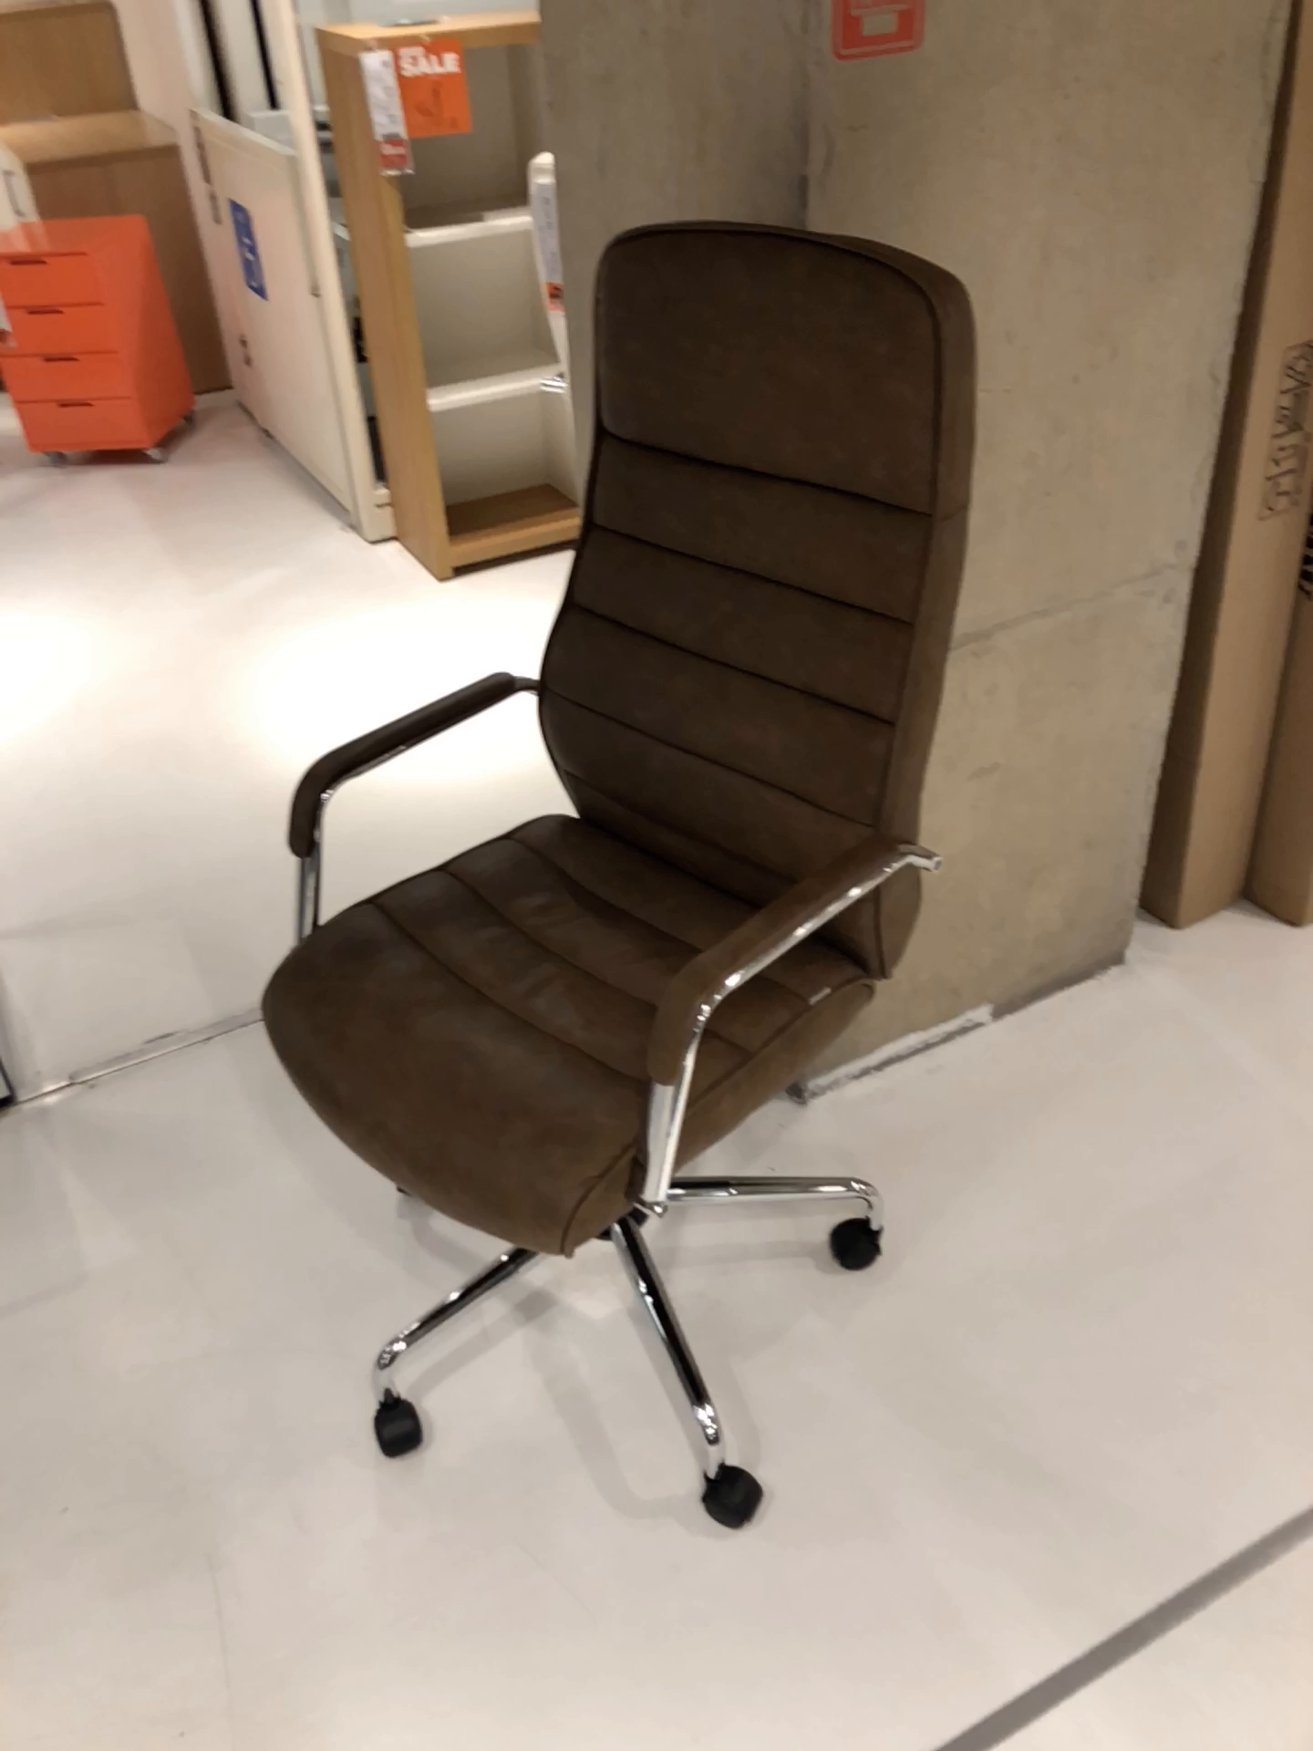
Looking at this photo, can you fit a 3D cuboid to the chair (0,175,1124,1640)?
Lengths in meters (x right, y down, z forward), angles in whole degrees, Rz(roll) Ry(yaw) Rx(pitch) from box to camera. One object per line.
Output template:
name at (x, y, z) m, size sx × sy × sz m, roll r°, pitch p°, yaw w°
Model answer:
chair at (-0.101, -0.020, 1.288) m, size 0.633 × 0.962 × 0.642 m, roll -30°, pitch 43°, yaw -33°
